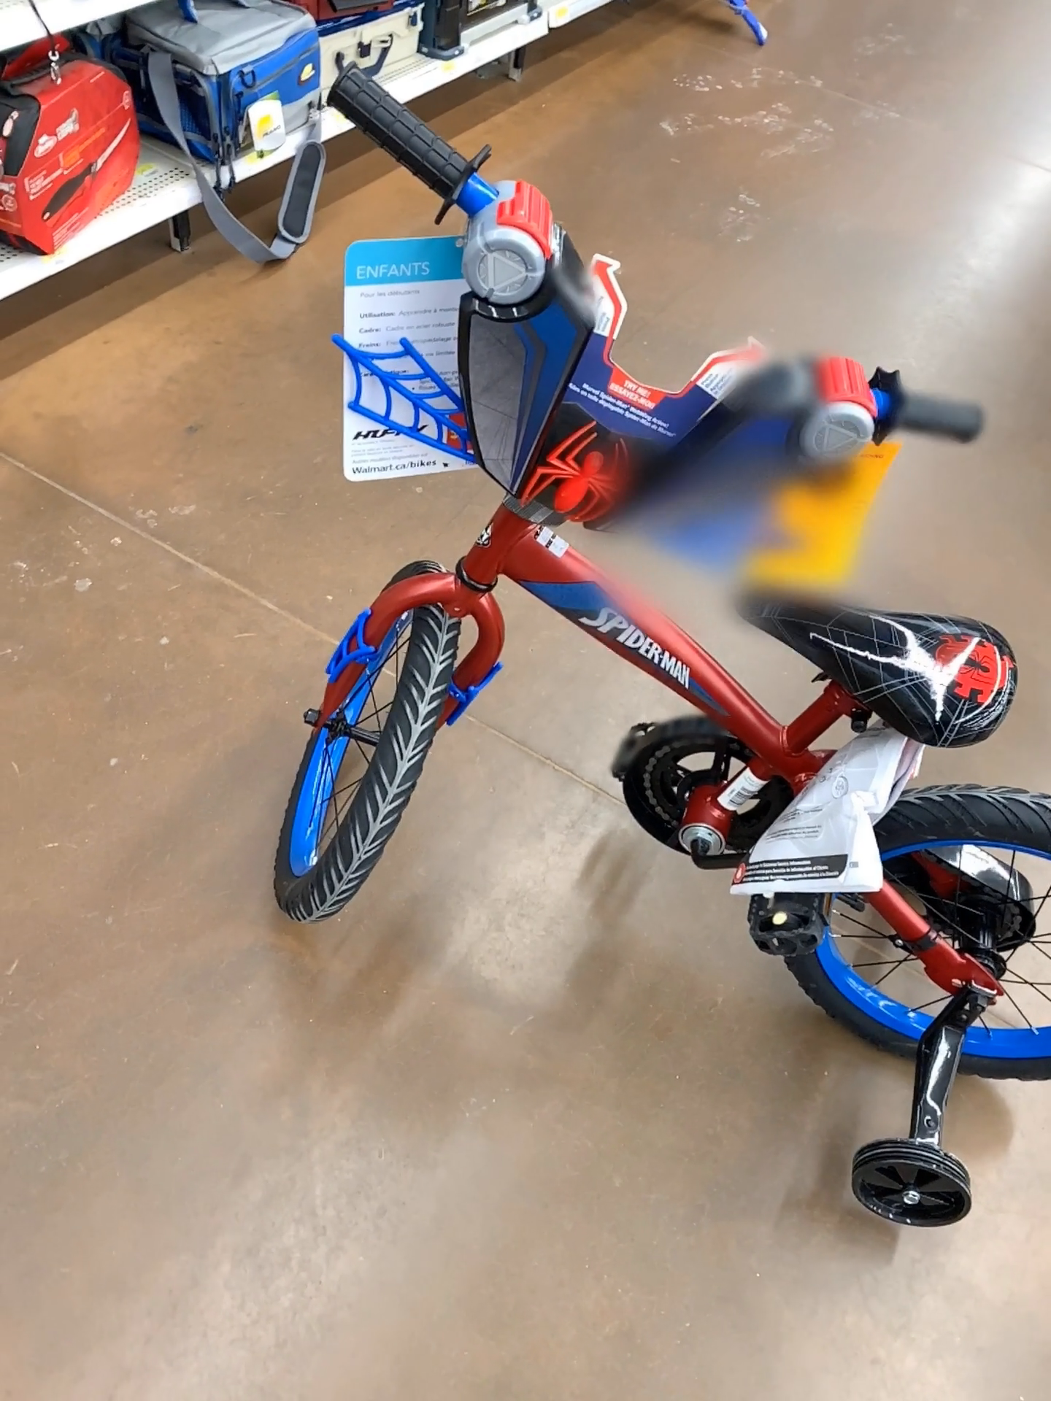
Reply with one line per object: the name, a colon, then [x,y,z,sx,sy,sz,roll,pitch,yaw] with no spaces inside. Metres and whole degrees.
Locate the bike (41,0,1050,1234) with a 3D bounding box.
bike: [0.156,0.001,0.767,0.565,0.709,0.477,12,48,1]
